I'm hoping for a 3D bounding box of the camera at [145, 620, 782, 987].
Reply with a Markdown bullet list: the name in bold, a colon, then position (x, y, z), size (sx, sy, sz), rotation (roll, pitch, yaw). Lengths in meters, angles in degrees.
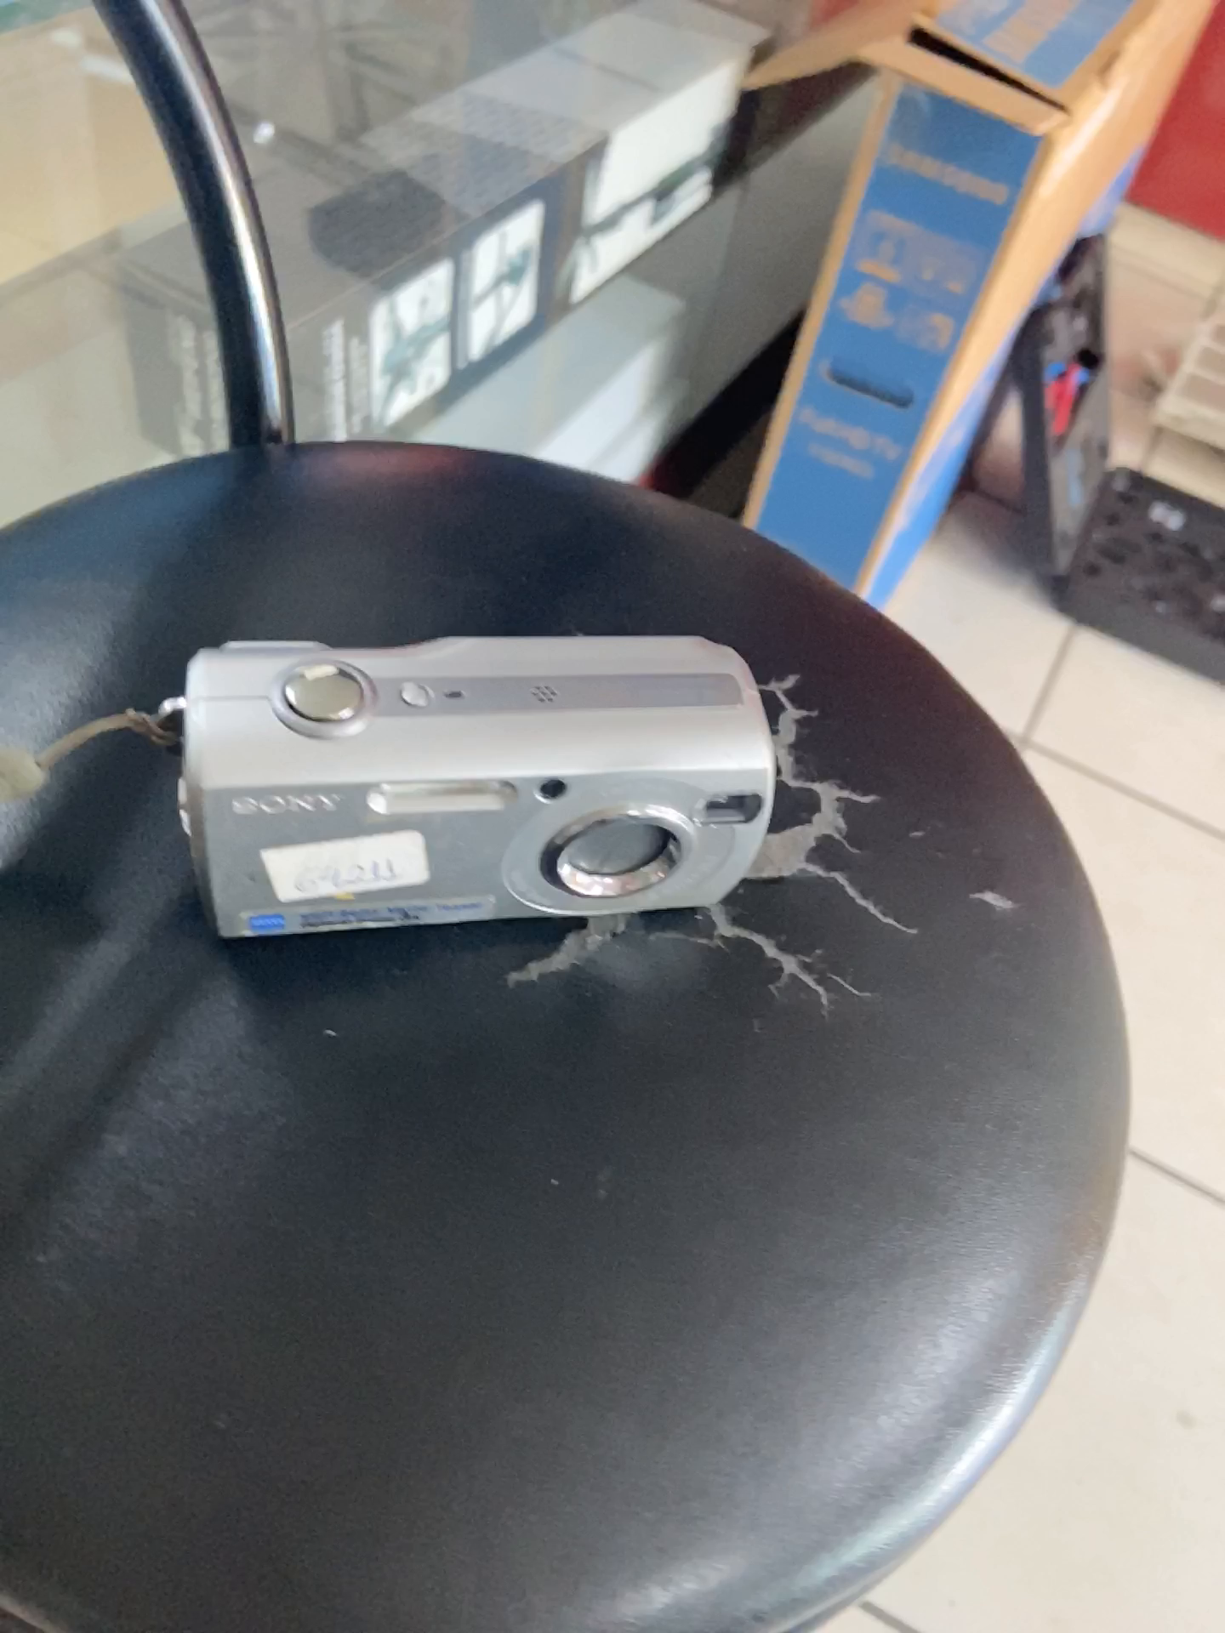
- **camera**: position (-0.028, -0.003, 0.230), size (0.100, 0.050, 0.040), rotation (-2, 51, -15)
